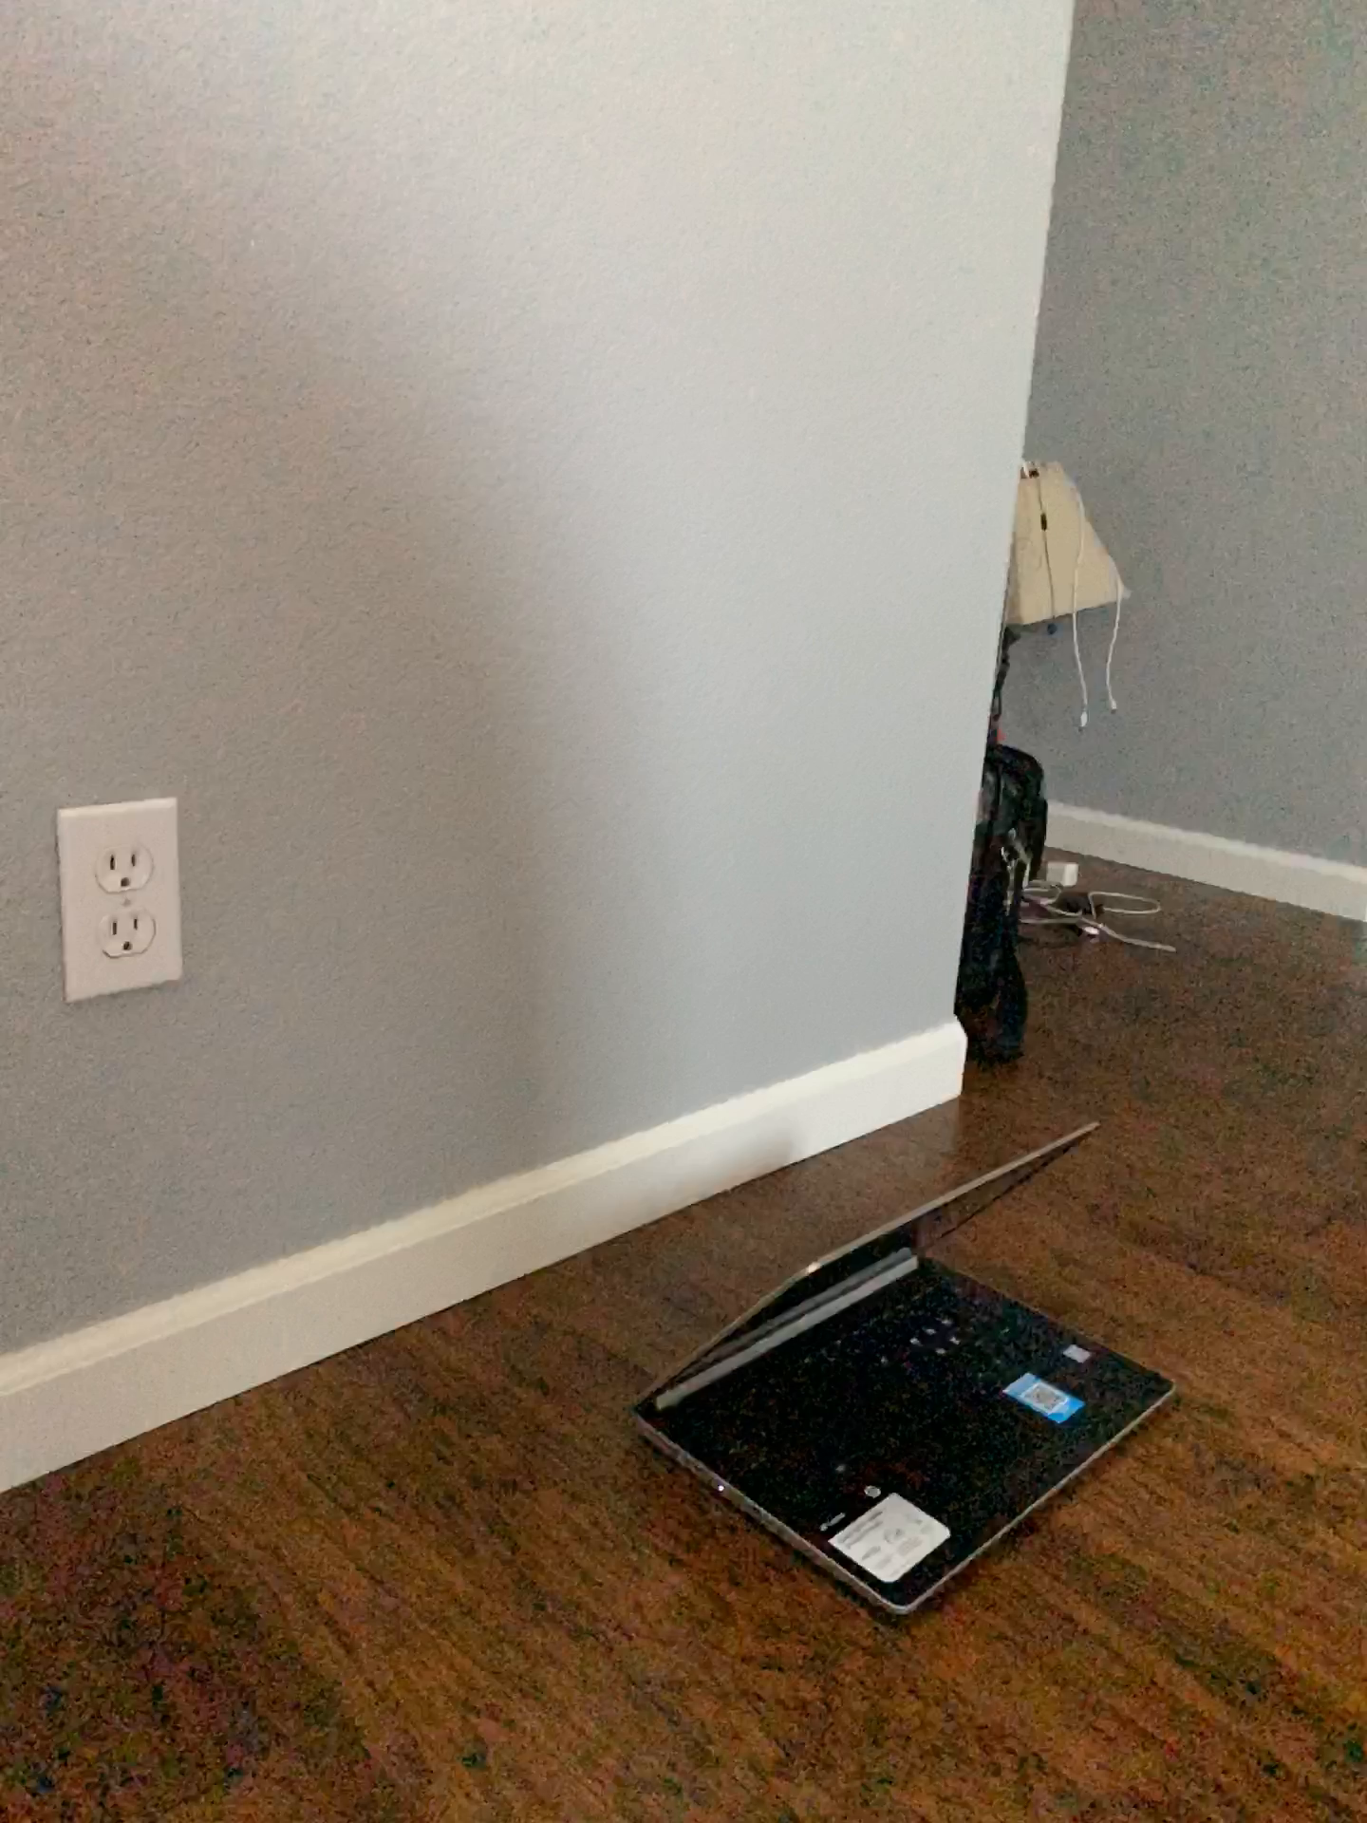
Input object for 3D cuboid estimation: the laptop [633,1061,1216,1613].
[{"bbox_3d":[0.163,0.251,0.927,0.220,0.169,0.317,19,22,41],"label":"laptop"}]
